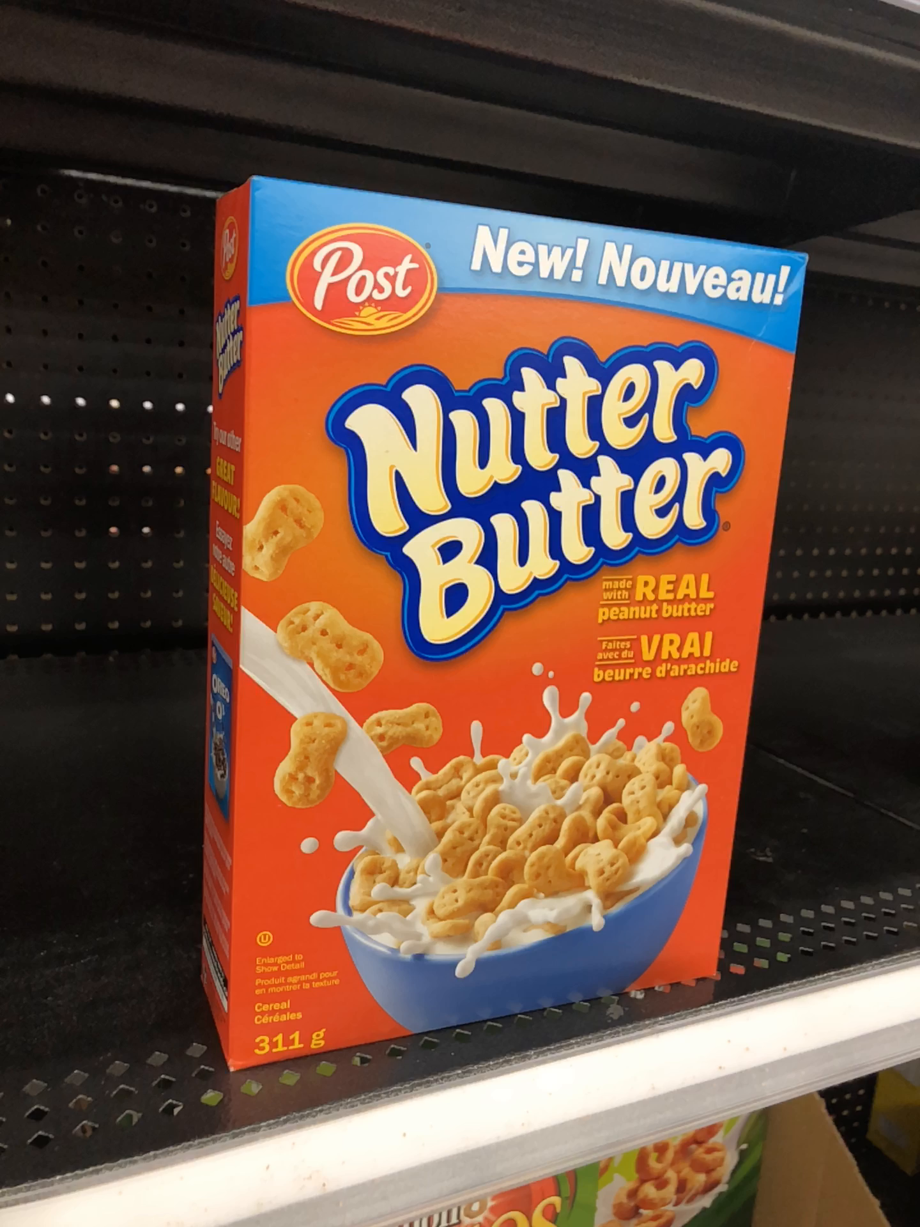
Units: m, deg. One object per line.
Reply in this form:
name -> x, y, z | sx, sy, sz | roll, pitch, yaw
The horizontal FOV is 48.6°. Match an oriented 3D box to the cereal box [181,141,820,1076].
cereal box -> 0.009, 0.002, 0.363 | 0.200, 0.279, 0.060 | -1, 13, -23
